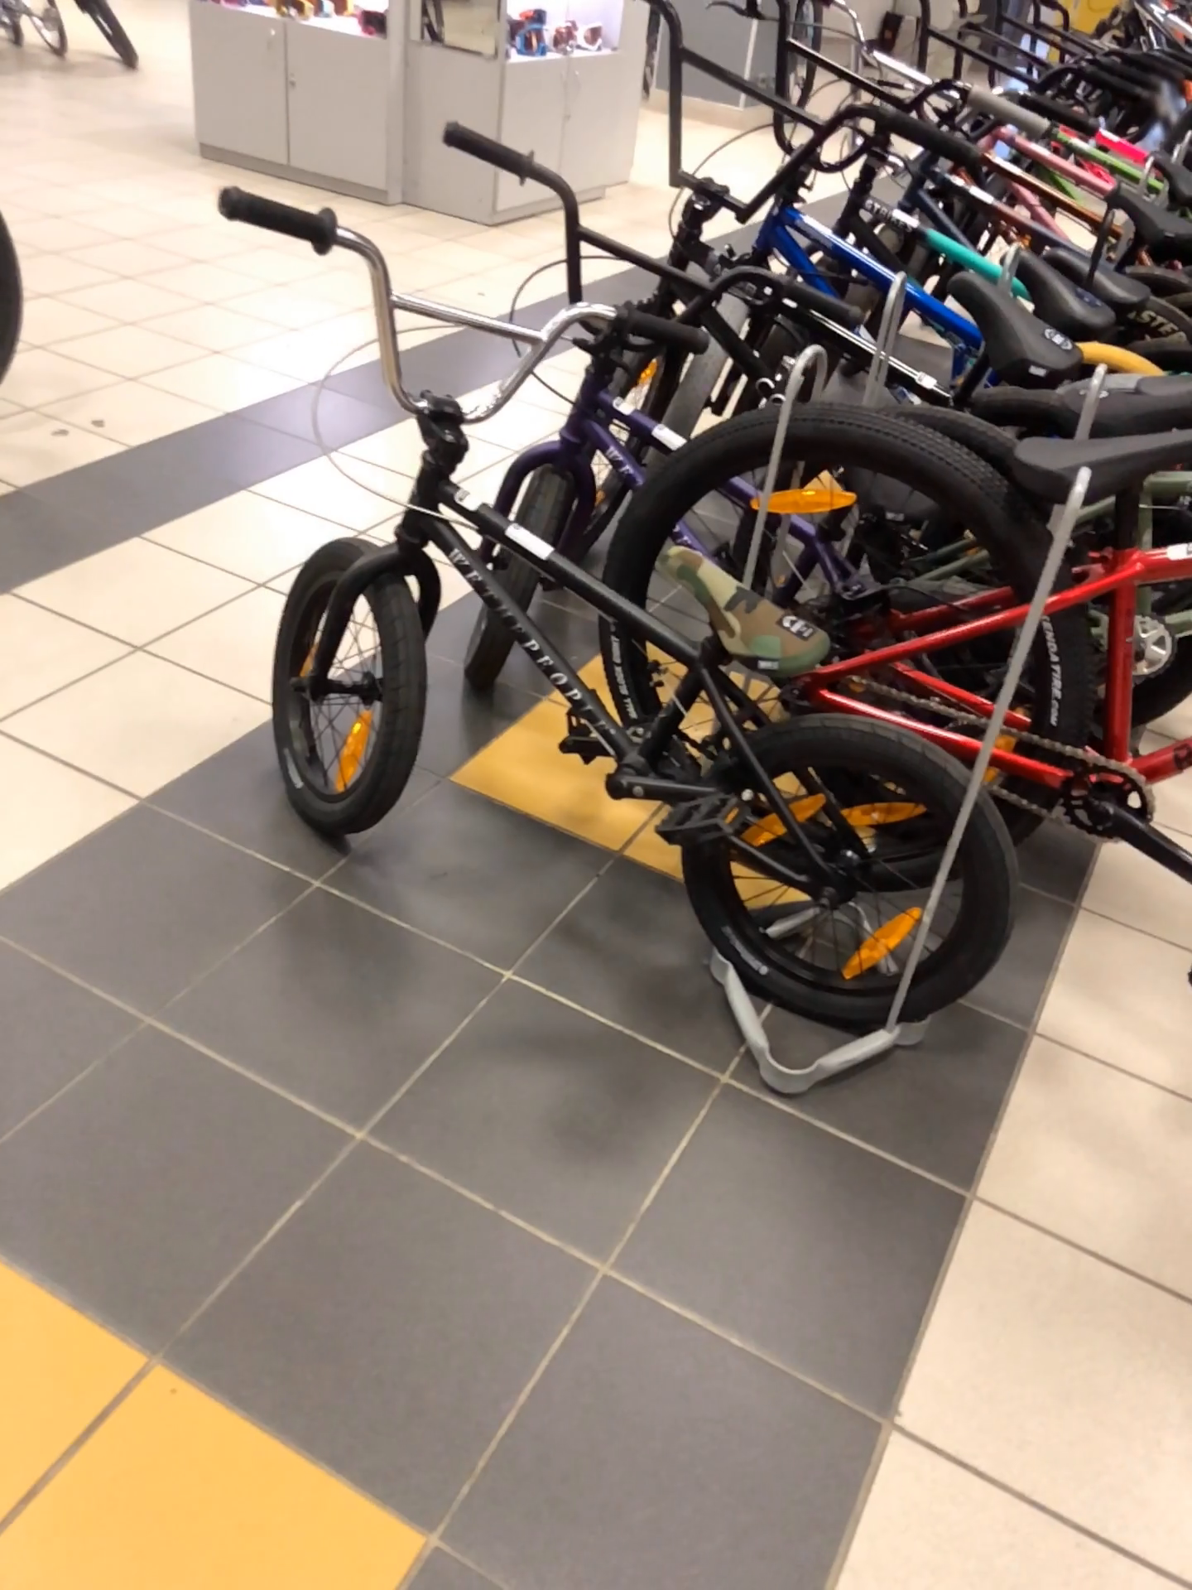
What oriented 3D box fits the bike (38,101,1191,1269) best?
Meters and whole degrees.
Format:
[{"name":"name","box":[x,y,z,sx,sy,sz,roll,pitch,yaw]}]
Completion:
[{"name":"bike","box":[0.036,-0.228,1.529,1.073,0.809,0.679,26,38,22]}]
